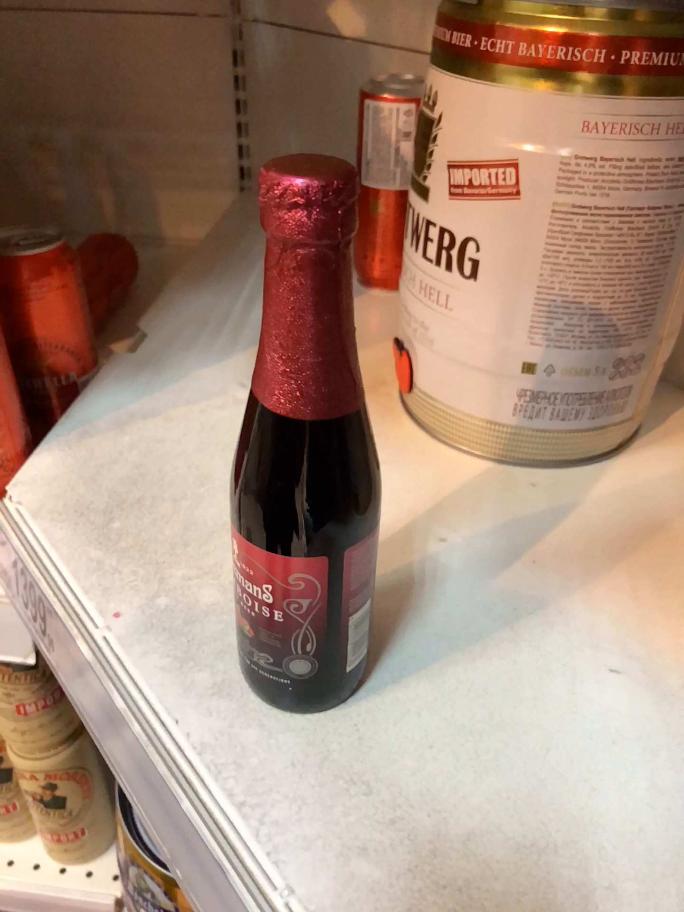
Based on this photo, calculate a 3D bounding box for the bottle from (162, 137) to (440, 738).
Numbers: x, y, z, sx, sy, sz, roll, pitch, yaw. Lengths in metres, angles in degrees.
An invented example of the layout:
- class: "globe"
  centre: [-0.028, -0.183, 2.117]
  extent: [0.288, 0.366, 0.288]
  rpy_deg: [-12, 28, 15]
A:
- class: "bottle"
  centre: [-0.015, 0.003, 0.264]
  extent: [0.058, 0.199, 0.058]
  rpy_deg: [1, 35, -1]
